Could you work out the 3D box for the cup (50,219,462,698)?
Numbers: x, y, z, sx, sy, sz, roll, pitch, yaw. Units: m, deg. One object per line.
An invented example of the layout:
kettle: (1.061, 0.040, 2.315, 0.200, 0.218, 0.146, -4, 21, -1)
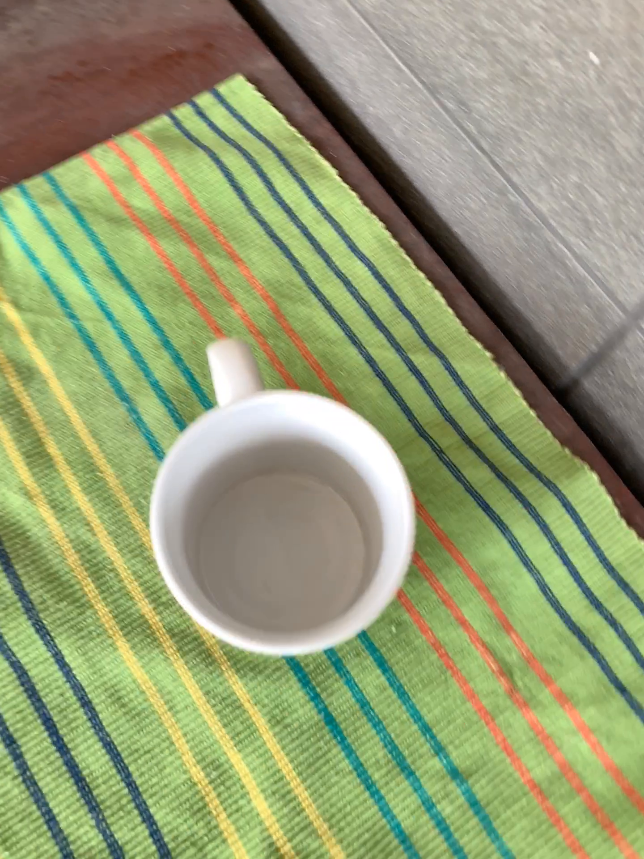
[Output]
cup: (-0.027, 0.016, 0.248, 0.080, 0.100, 0.130, -23, 75, -12)
